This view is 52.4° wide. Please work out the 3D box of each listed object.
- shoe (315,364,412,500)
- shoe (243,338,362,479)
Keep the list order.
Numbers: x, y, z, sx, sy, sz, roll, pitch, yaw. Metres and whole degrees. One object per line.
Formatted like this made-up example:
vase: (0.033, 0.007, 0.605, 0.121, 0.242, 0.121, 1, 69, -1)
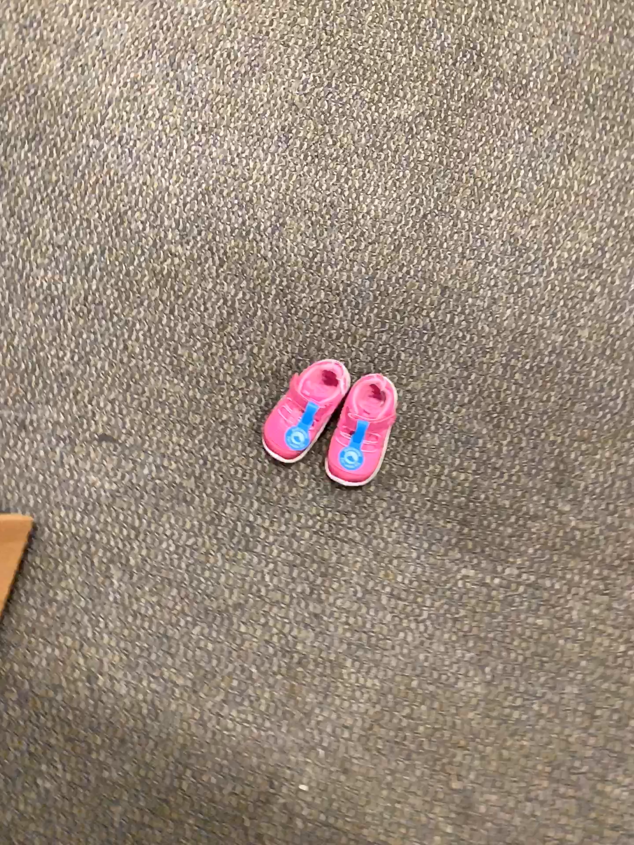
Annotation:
shoe: (0.053, 0.012, 0.750, 0.070, 0.040, 0.140, 19, 83, 3)
shoe: (-0.015, -0.015, 0.734, 0.070, 0.040, 0.140, 30, 84, 5)
